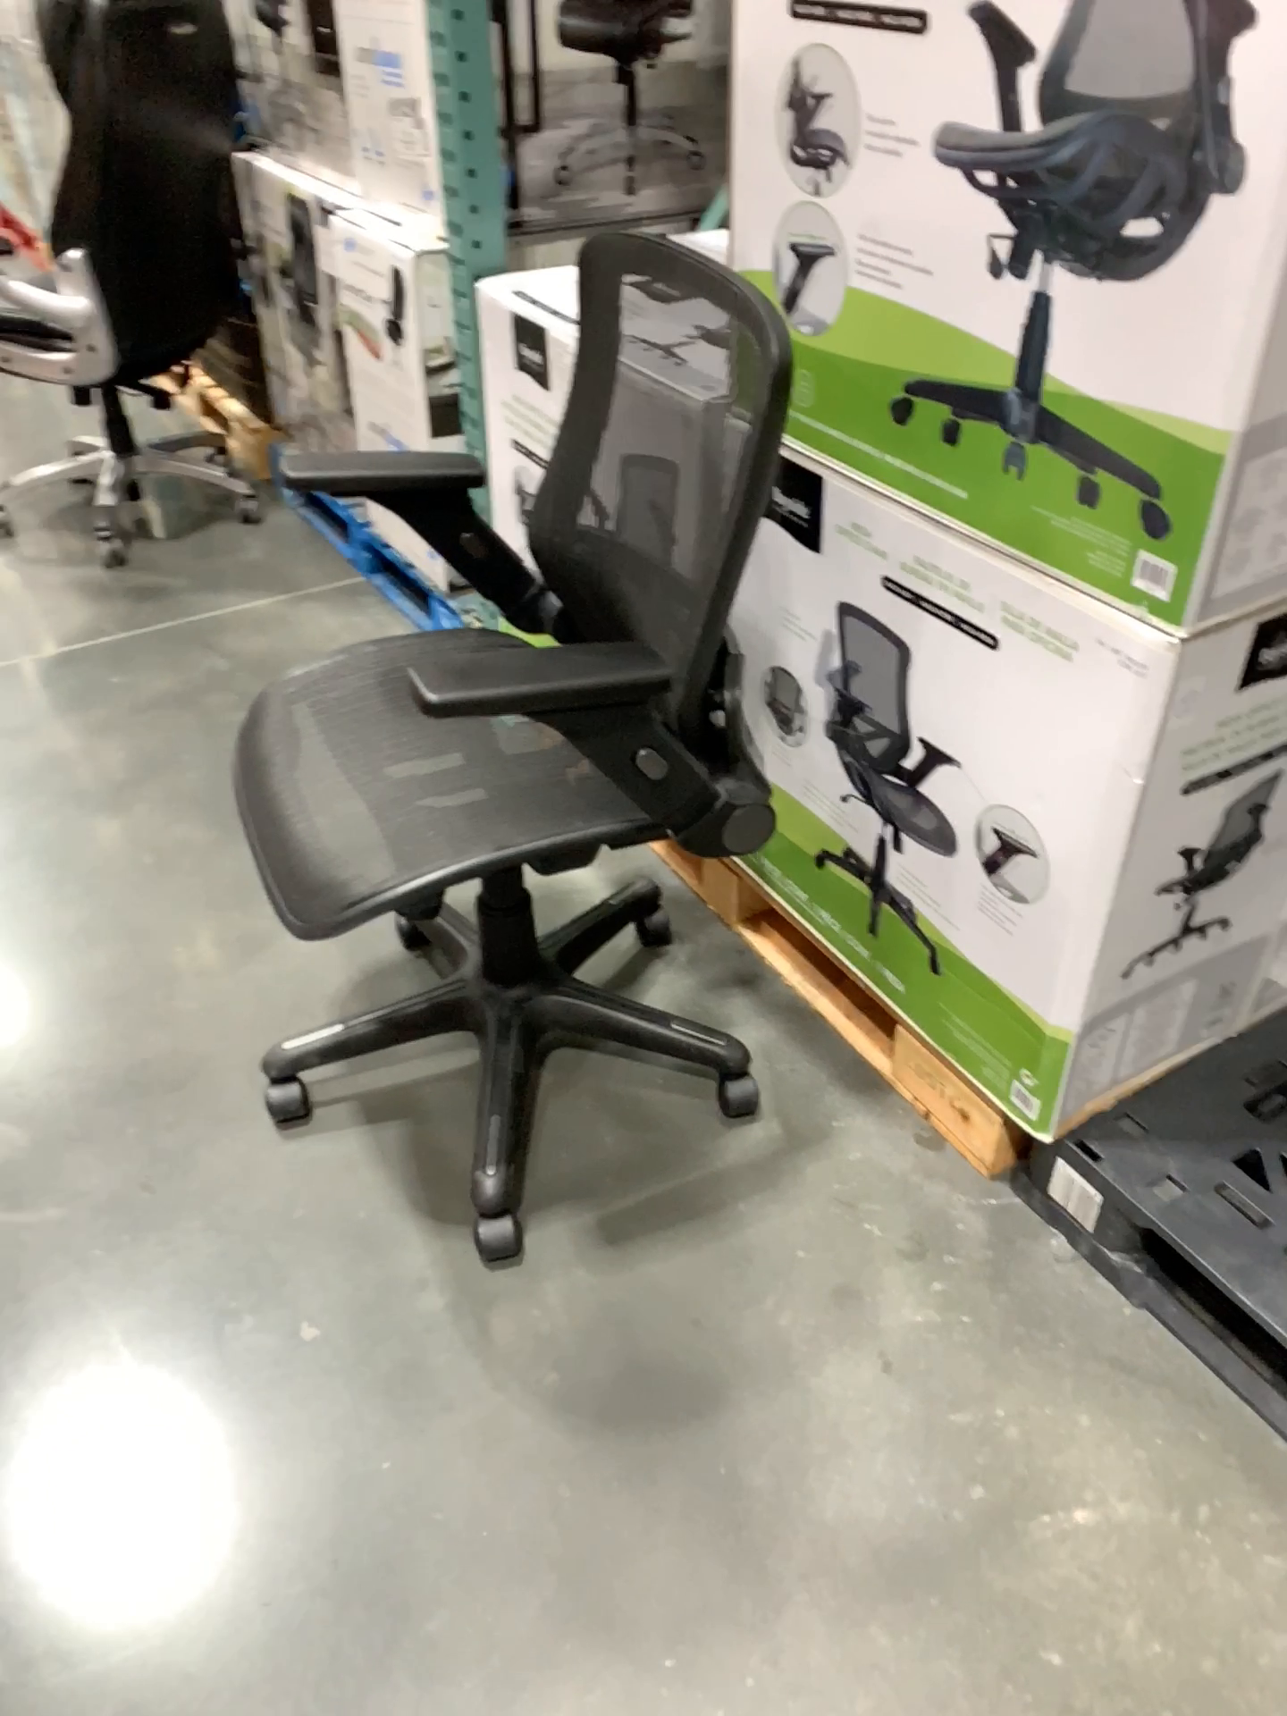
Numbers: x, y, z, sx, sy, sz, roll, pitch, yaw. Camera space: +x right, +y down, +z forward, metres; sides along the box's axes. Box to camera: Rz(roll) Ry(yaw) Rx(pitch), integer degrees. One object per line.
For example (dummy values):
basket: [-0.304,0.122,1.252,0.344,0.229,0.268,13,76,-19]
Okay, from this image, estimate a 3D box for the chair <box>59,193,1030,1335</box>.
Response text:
chair: [-0.144,-0.140,1.512,0.735,0.987,0.679,-13,38,-17]

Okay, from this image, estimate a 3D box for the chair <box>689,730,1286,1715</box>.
chair: [0.518,0.788,0.040,0.755,1.146,0.970,-10,37,-13]
